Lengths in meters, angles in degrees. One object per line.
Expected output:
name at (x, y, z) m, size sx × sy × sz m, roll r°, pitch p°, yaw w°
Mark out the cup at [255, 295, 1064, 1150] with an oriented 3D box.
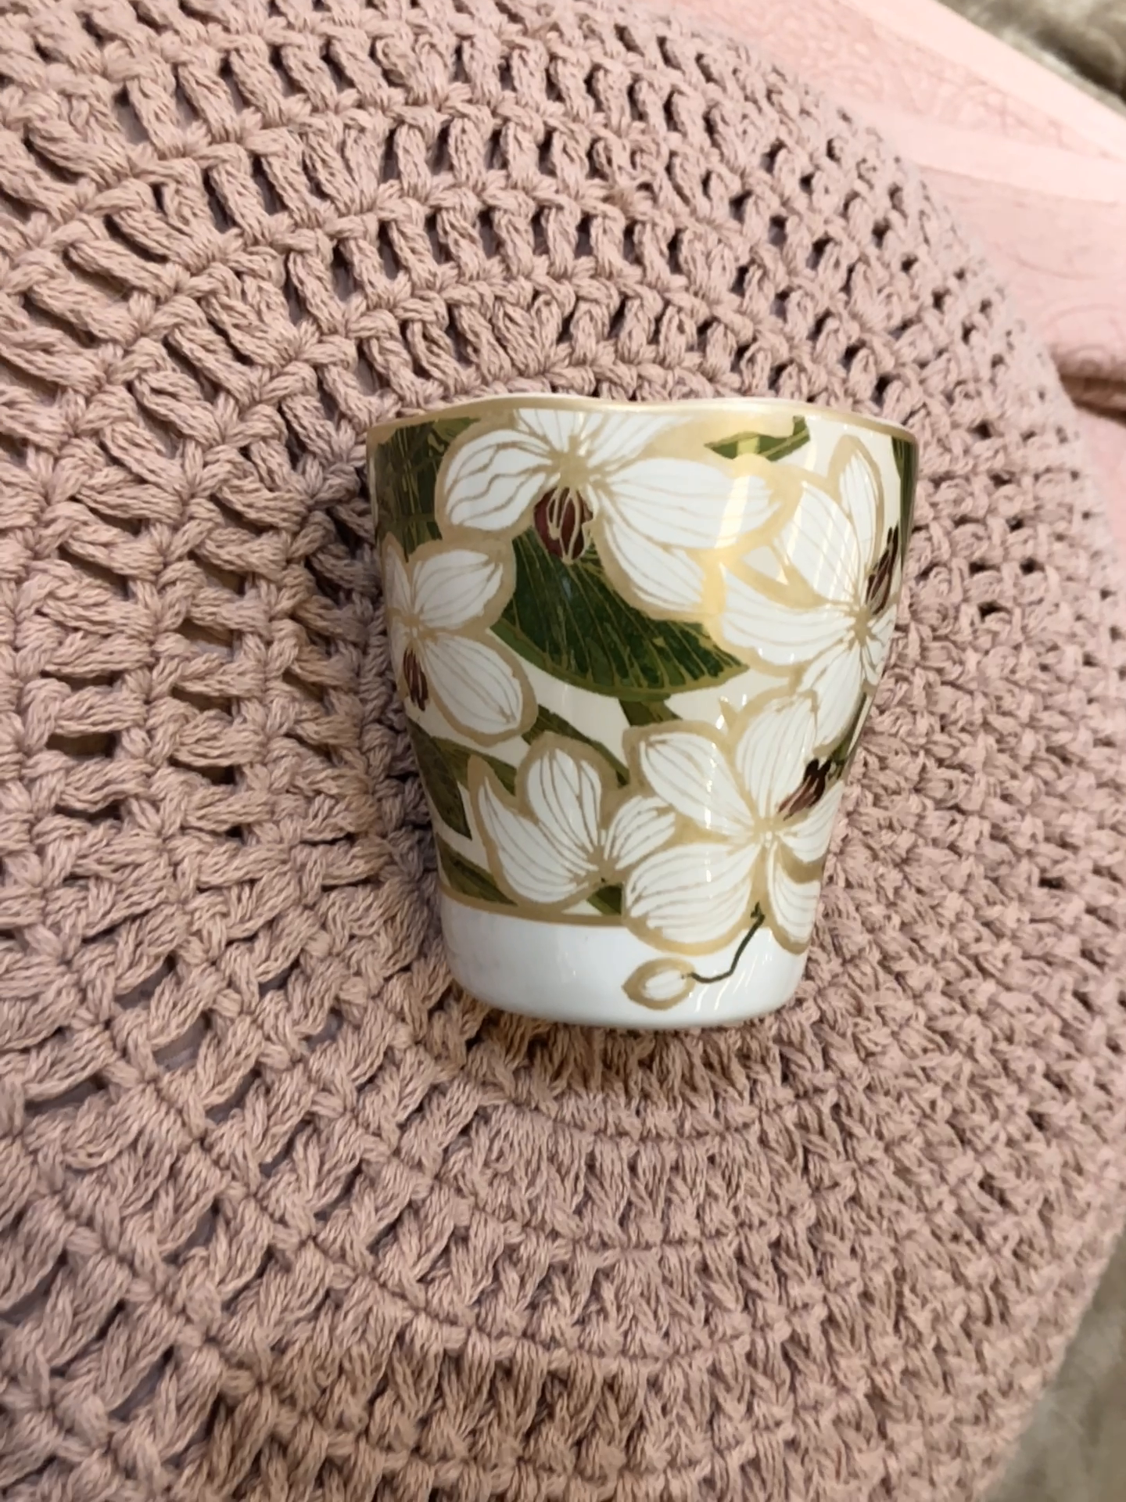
cup at (0.024, -0.010, 0.256) m, size 0.141 × 0.090 × 0.120 m, roll -5°, pitch 98°, yaw -43°
